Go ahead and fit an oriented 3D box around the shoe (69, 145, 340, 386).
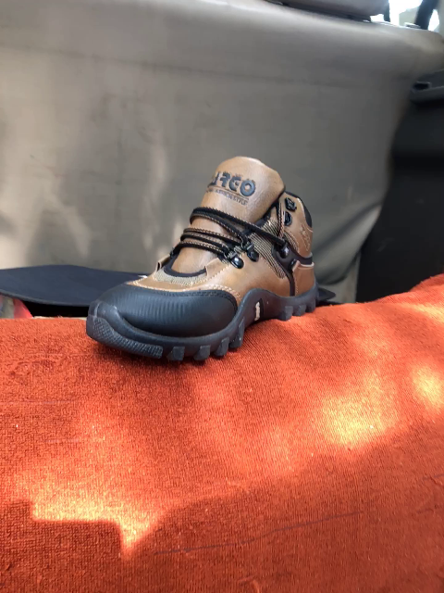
[{"bbox_3d":[0.003,-0.049,0.453,0.110,0.149,0.271,13,18,28],"label":"shoe"}]
